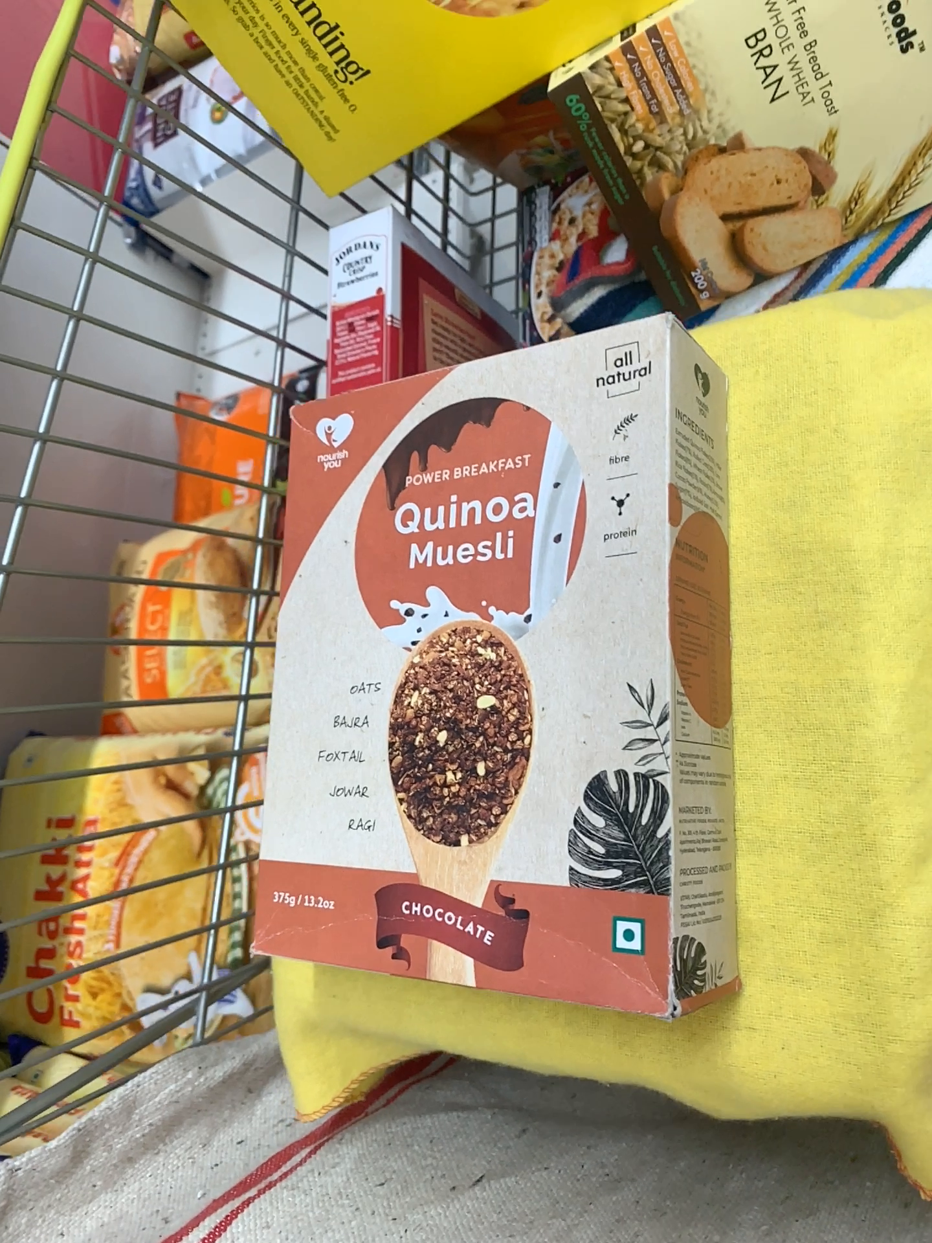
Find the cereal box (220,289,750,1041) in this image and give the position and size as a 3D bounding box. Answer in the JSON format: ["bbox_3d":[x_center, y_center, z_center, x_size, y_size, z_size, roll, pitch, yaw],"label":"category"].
[{"bbox_3d":[0.004,0.016,0.337,0.171,0.060,0.210,-5,78,33],"label":"cereal box"}]
